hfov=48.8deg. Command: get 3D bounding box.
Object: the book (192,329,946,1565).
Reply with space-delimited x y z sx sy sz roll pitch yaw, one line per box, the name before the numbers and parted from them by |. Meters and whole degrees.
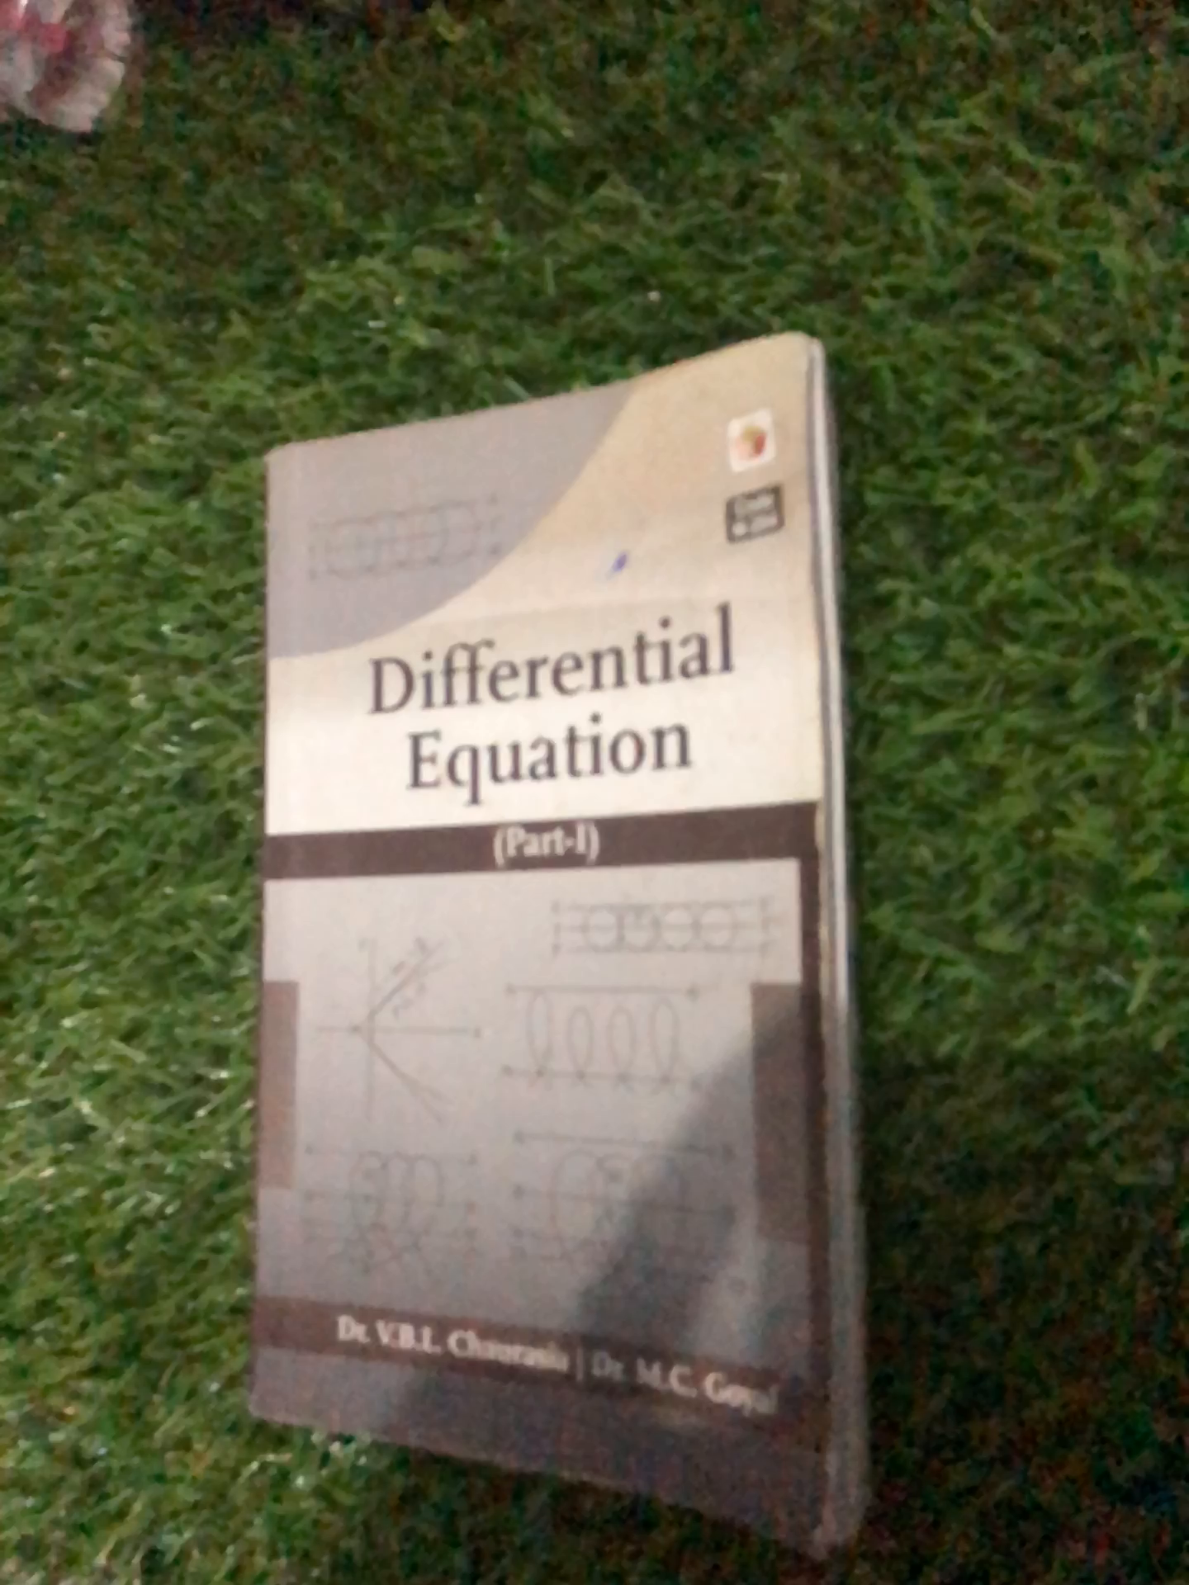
book | -0.009 0.025 0.255 0.140 0.030 0.200 -3 82 24
